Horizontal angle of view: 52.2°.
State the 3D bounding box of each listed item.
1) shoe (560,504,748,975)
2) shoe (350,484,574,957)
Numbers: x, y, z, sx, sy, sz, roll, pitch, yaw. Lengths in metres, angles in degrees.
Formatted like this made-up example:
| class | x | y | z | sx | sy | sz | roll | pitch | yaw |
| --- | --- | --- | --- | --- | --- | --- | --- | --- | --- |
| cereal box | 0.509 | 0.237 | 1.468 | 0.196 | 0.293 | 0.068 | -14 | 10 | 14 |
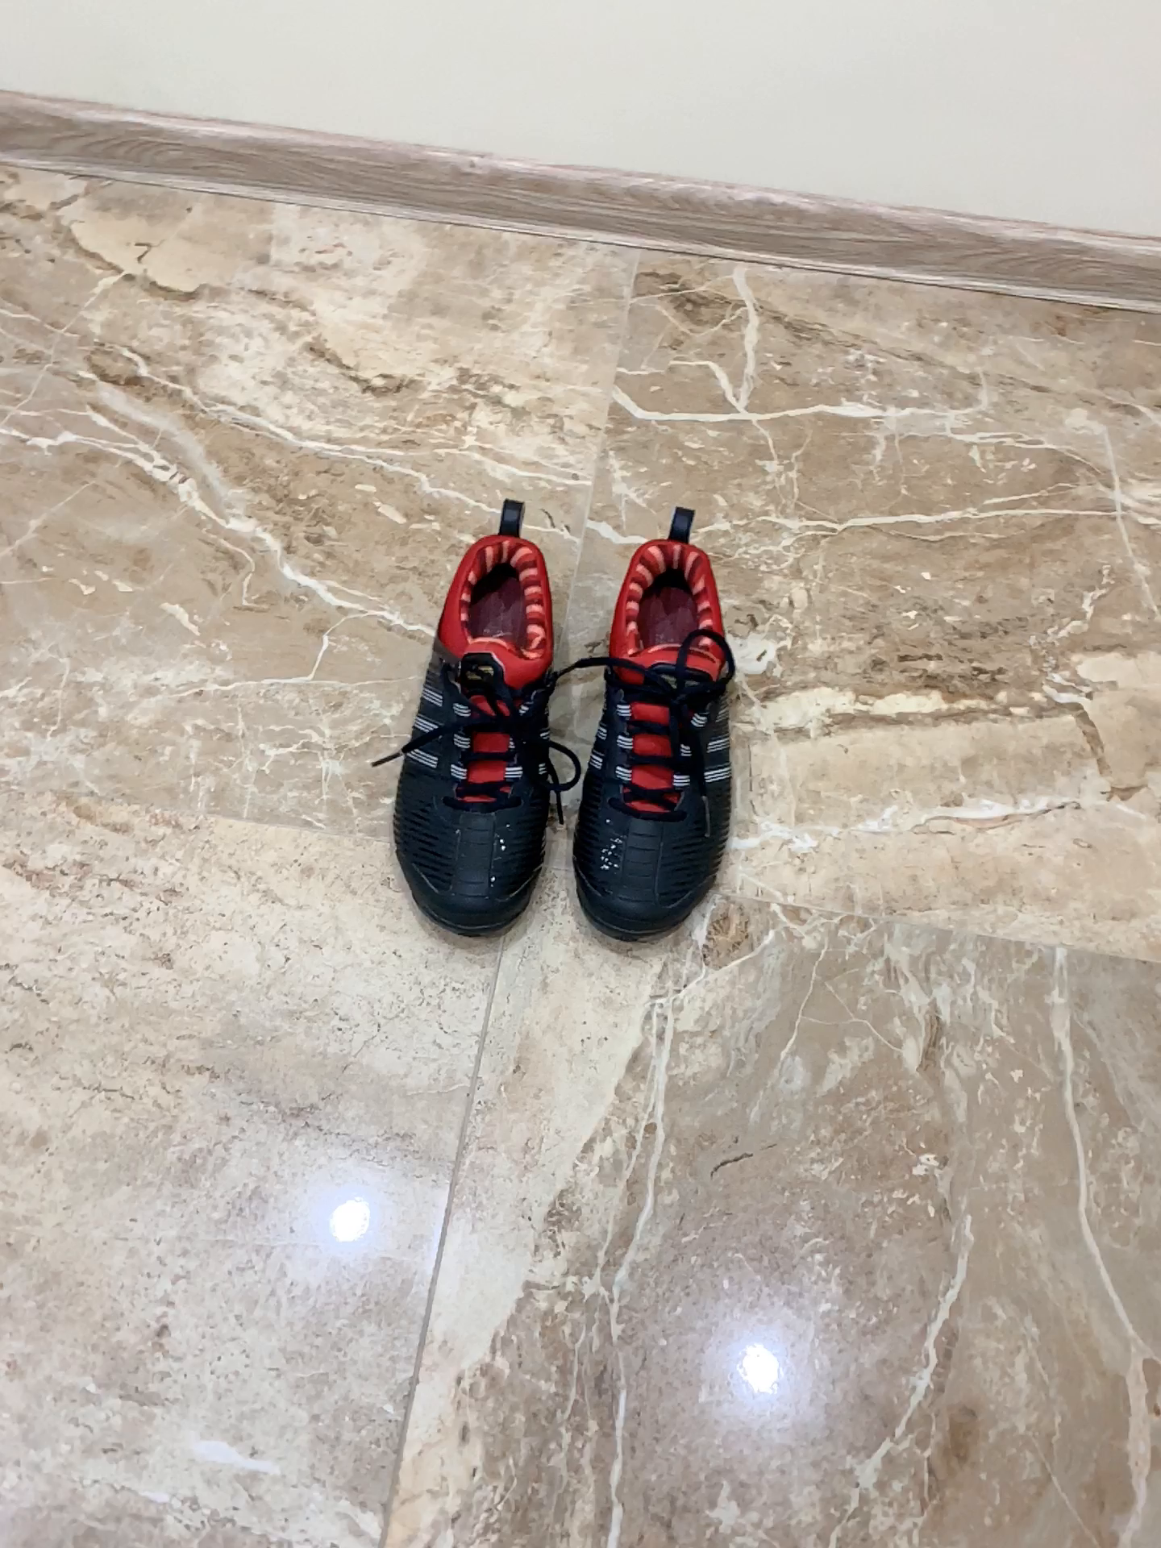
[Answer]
| class | x | y | z | sx | sy | sz | roll | pitch | yaw |
| --- | --- | --- | --- | --- | --- | --- | --- | --- | --- |
| shoe | 0.046 | -0.026 | 0.715 | 0.095 | 0.090 | 0.271 | 4 | 60 | 0 |
| shoe | -0.062 | -0.038 | 0.709 | 0.095 | 0.090 | 0.271 | 4 | 60 | 0 |
